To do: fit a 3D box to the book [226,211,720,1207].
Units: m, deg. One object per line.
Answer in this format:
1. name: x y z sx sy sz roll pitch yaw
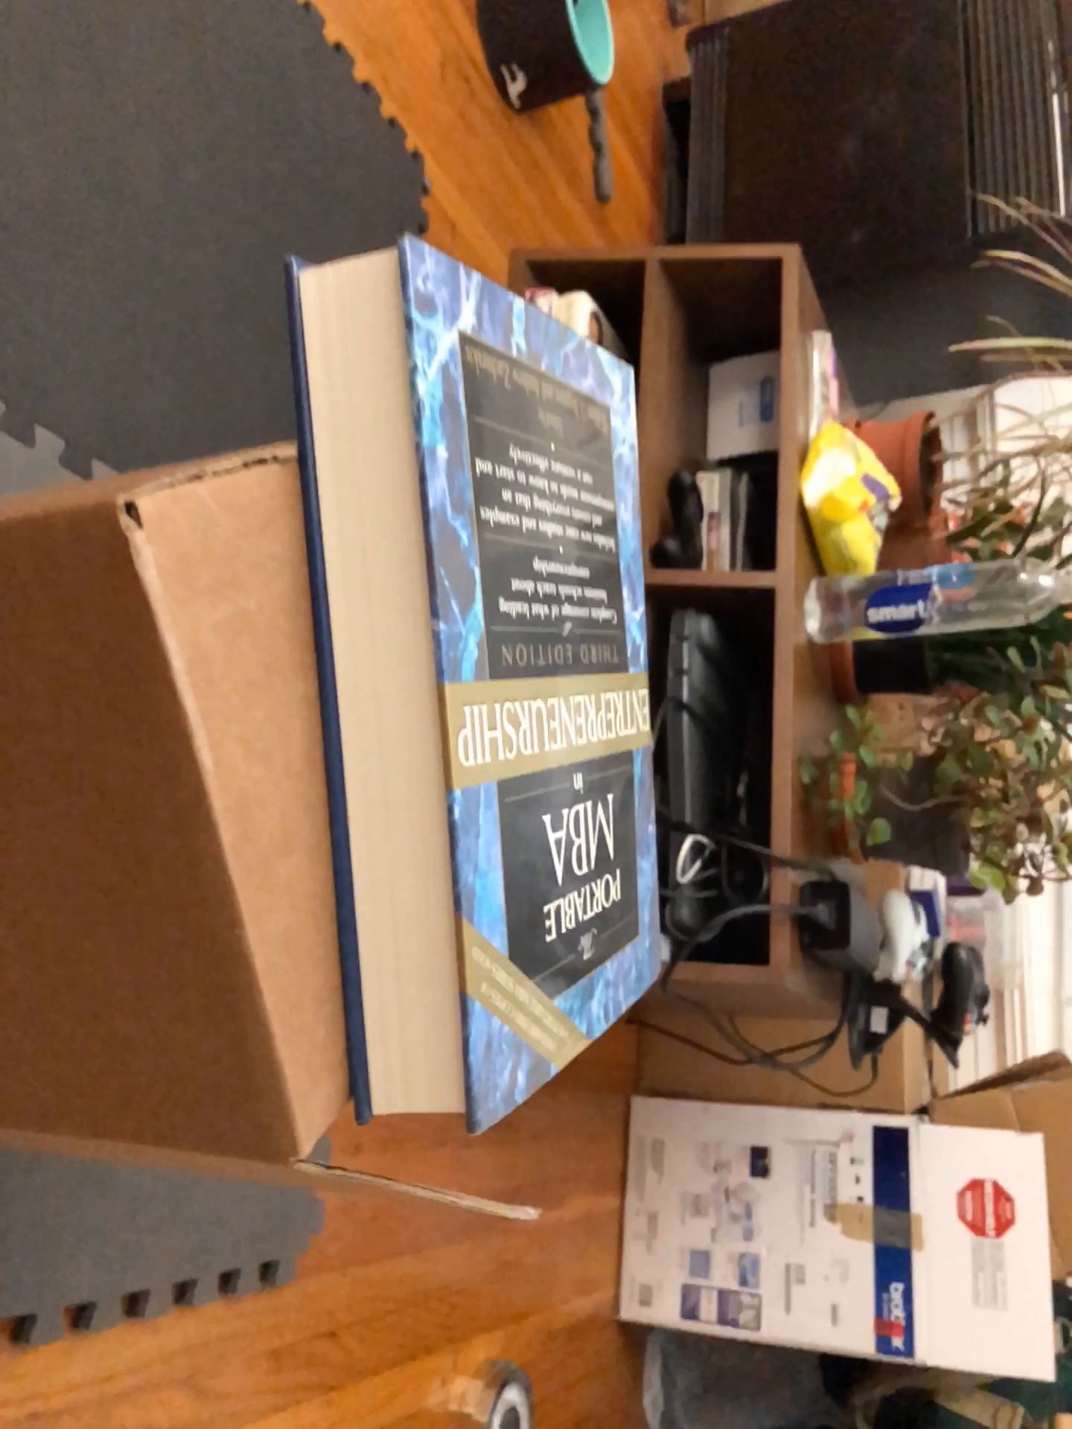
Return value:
1. book: -0.005 -0.004 0.427 0.211 0.060 0.270 -8 92 -66
